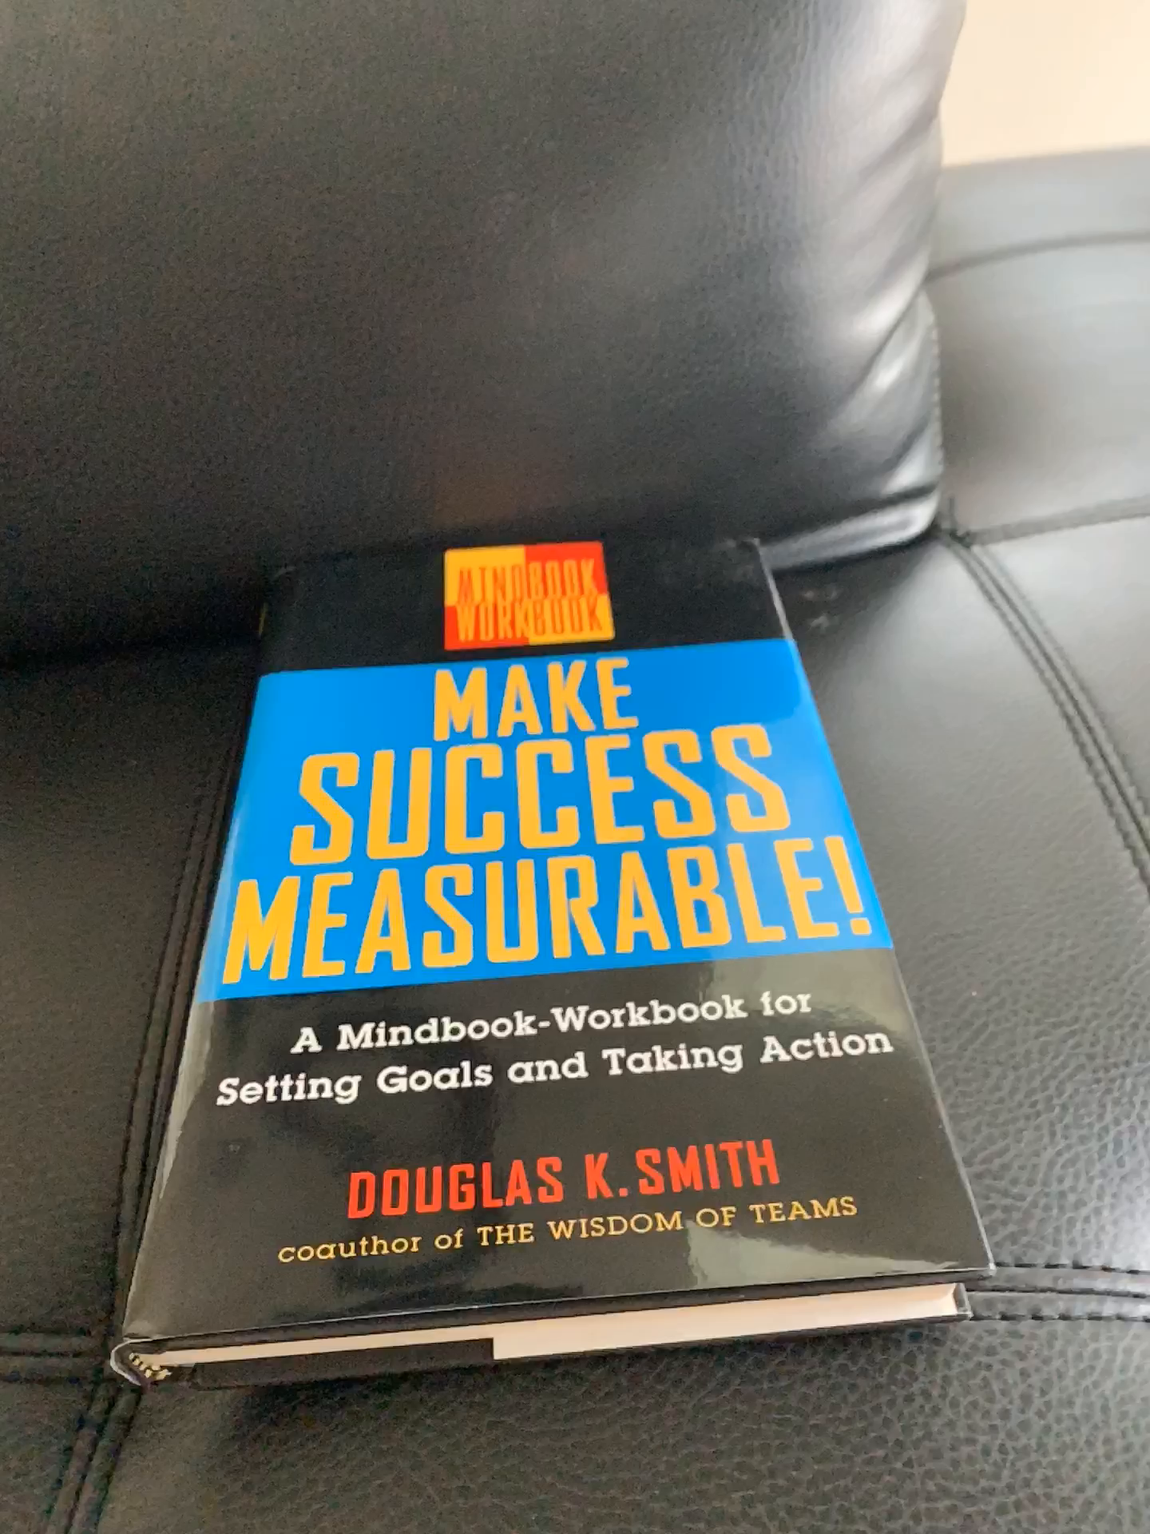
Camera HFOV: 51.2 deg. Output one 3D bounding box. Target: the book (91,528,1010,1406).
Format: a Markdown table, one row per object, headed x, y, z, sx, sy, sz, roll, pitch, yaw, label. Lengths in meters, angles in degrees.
| x | y | z | sx | sy | sz | roll | pitch | yaw | label |
| --- | --- | --- | --- | --- | --- | --- | --- | --- | --- |
| -0.012 | 0.023 | 0.310 | 0.164 | 0.030 | 0.242 | -4 | 44 | -2 | book |
